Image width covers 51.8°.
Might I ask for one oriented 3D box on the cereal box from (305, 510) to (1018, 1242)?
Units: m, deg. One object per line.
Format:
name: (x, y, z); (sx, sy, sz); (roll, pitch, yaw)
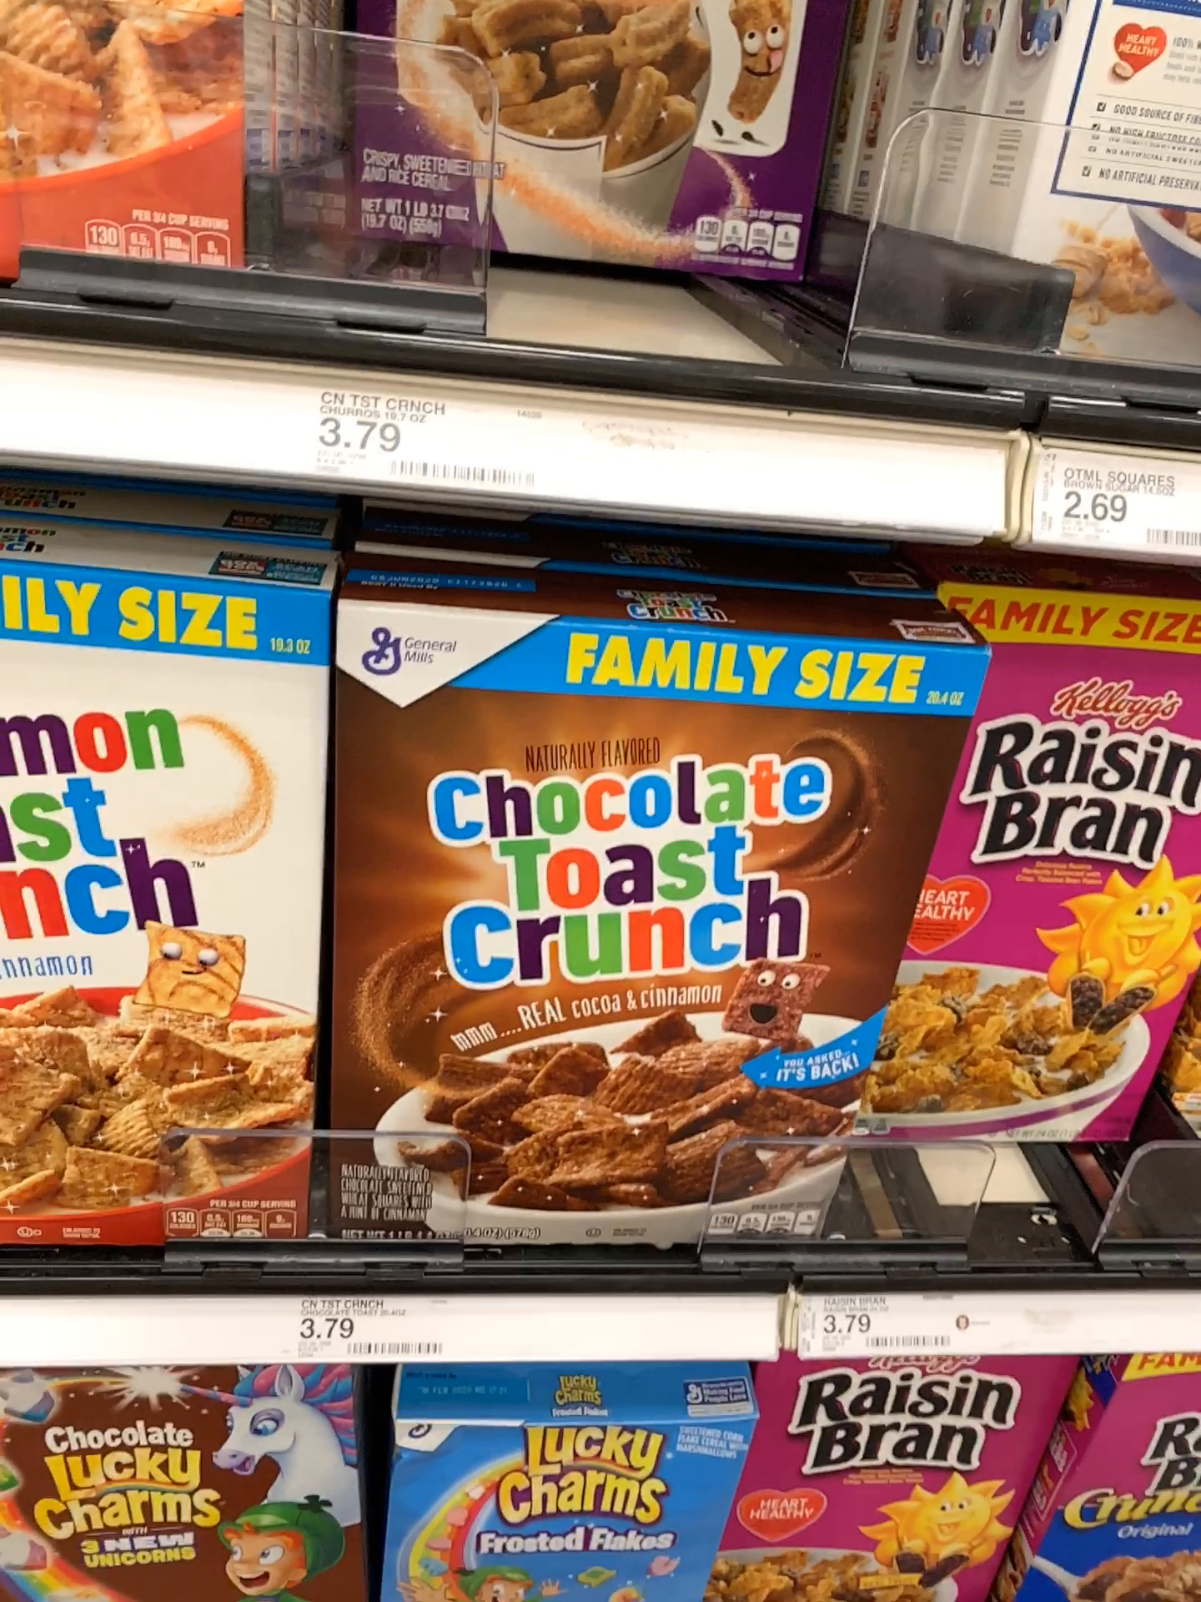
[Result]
cereal box: (0.005, 0.049, 0.510); (0.240, 0.308, 0.060); (2, 29, -8)
